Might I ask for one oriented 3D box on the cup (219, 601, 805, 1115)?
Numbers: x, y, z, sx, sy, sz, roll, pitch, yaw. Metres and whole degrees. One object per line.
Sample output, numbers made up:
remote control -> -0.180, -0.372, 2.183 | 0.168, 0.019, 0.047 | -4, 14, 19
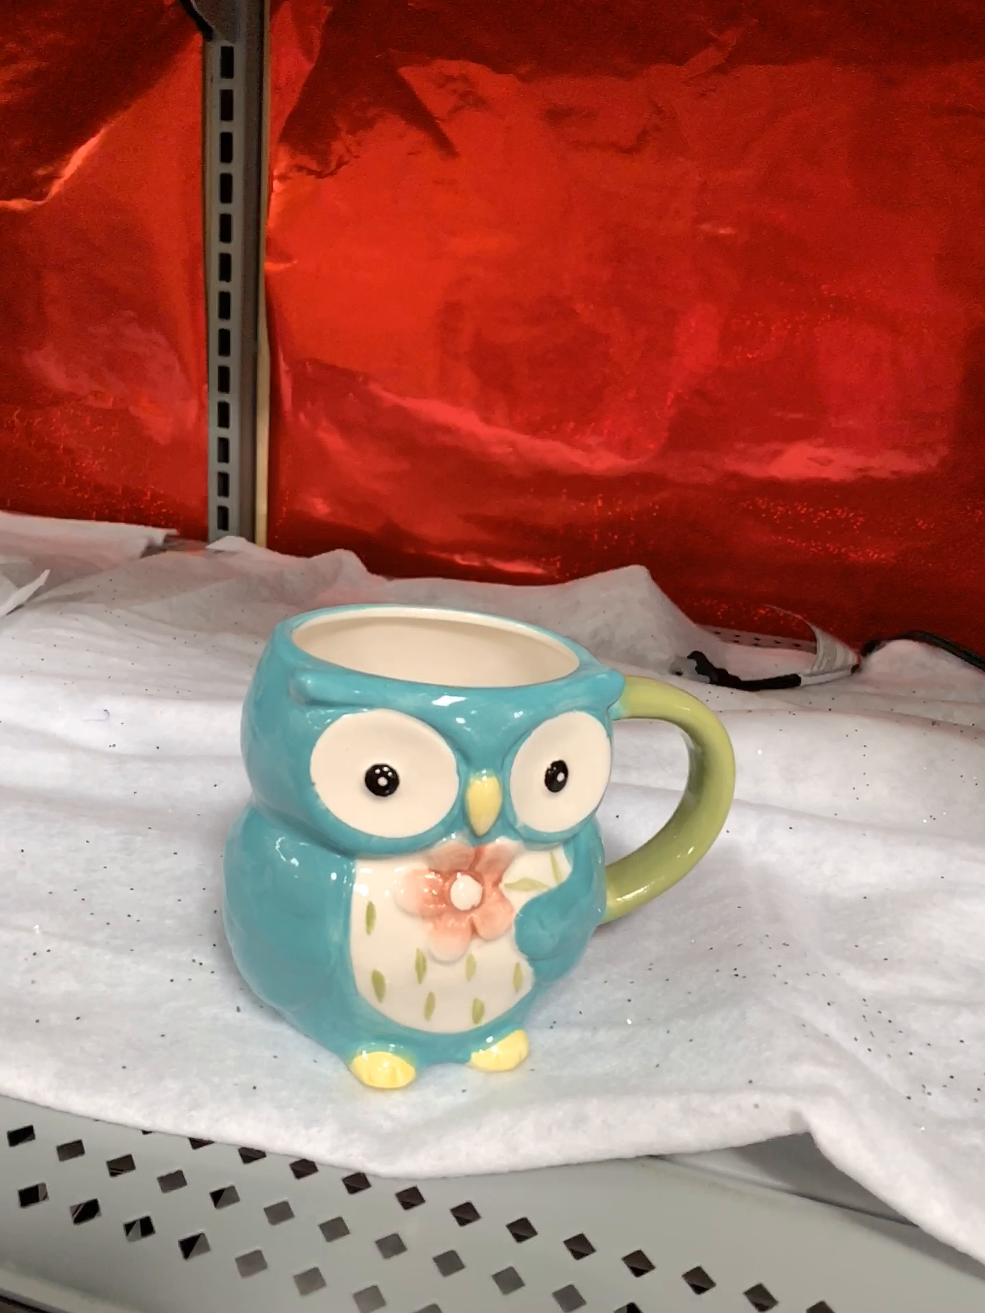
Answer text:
cup -> -0.006, 0.043, 0.284 | 0.127, 0.087, 0.108 | -1, 20, -19
